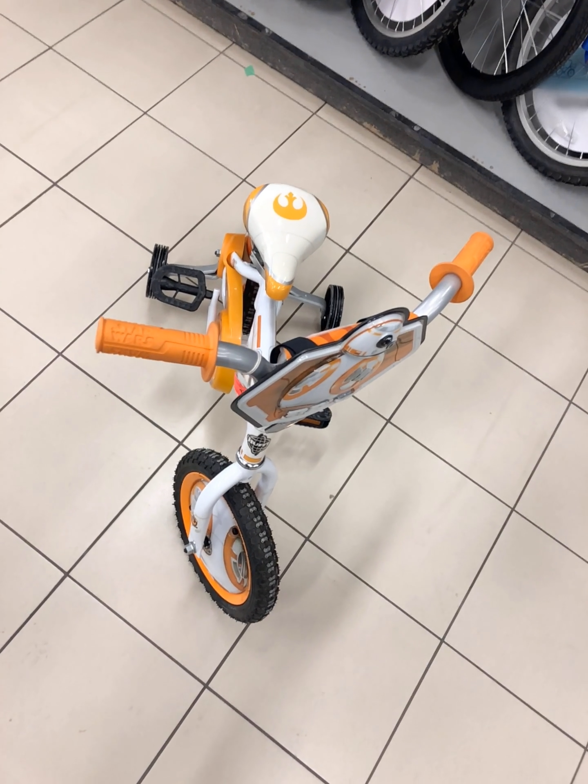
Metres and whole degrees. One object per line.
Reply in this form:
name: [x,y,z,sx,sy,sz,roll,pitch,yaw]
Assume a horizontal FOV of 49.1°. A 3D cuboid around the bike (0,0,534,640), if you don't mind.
bike: [-0.068,-0.110,0.979,0.435,0.715,0.817,2,66,-9]
